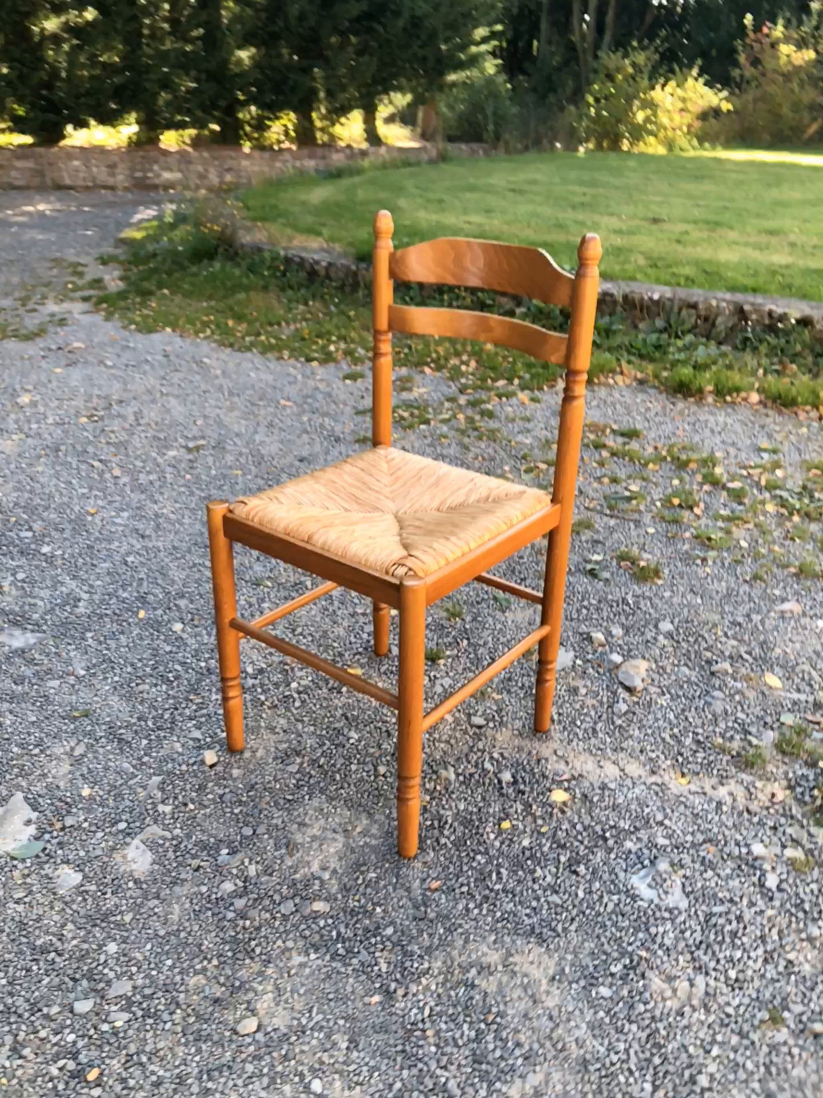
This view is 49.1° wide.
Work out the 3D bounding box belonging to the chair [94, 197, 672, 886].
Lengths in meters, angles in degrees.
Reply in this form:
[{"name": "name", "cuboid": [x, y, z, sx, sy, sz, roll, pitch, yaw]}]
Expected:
[{"name": "chair", "cuboid": [-0.024, -0.064, 1.306, 0.510, 0.736, 0.523, 21, 35, 32]}]
